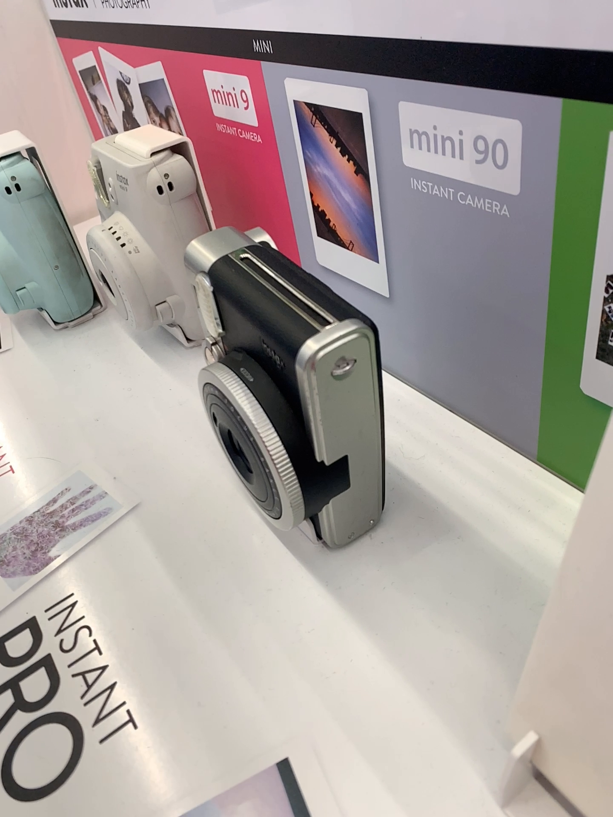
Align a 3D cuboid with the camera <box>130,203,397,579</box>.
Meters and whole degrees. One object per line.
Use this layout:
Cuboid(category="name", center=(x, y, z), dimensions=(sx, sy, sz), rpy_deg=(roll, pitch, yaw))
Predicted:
Cuboid(category="camera", center=(-0.016, -0.009, 0.260), dimensions=(0.050, 0.109, 0.101), rpy_deg=(-27, 45, -17))
